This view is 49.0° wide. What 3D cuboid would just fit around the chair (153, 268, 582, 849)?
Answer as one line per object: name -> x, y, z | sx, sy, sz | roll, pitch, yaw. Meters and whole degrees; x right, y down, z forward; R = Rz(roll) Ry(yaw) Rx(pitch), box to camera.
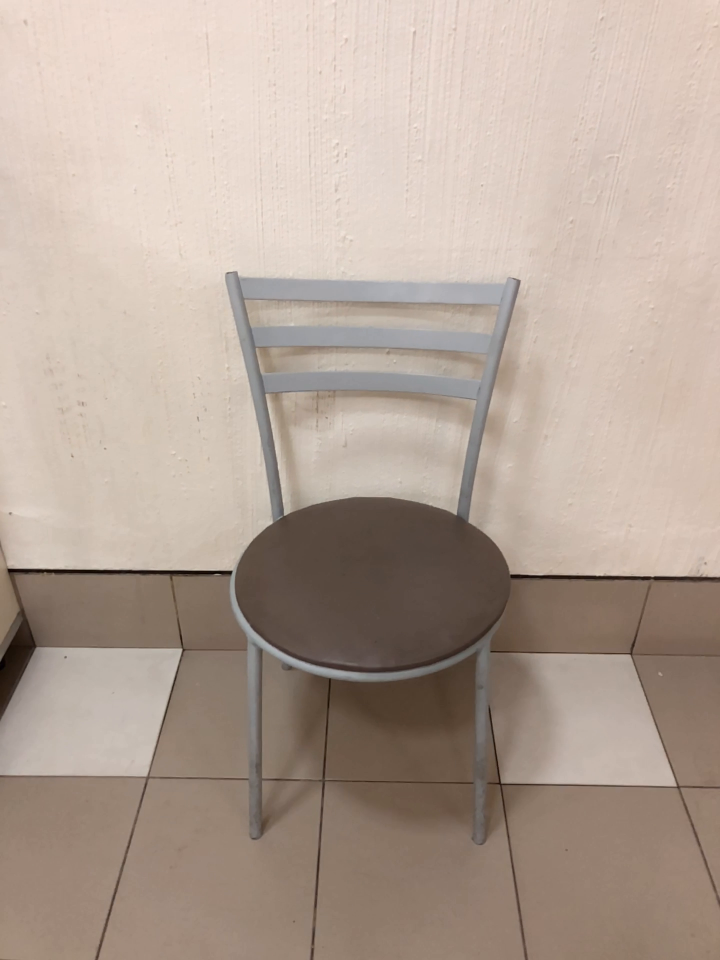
chair -> 0.008, 0.130, 1.177 | 0.430, 0.764, 0.423 | 0, 34, 0
